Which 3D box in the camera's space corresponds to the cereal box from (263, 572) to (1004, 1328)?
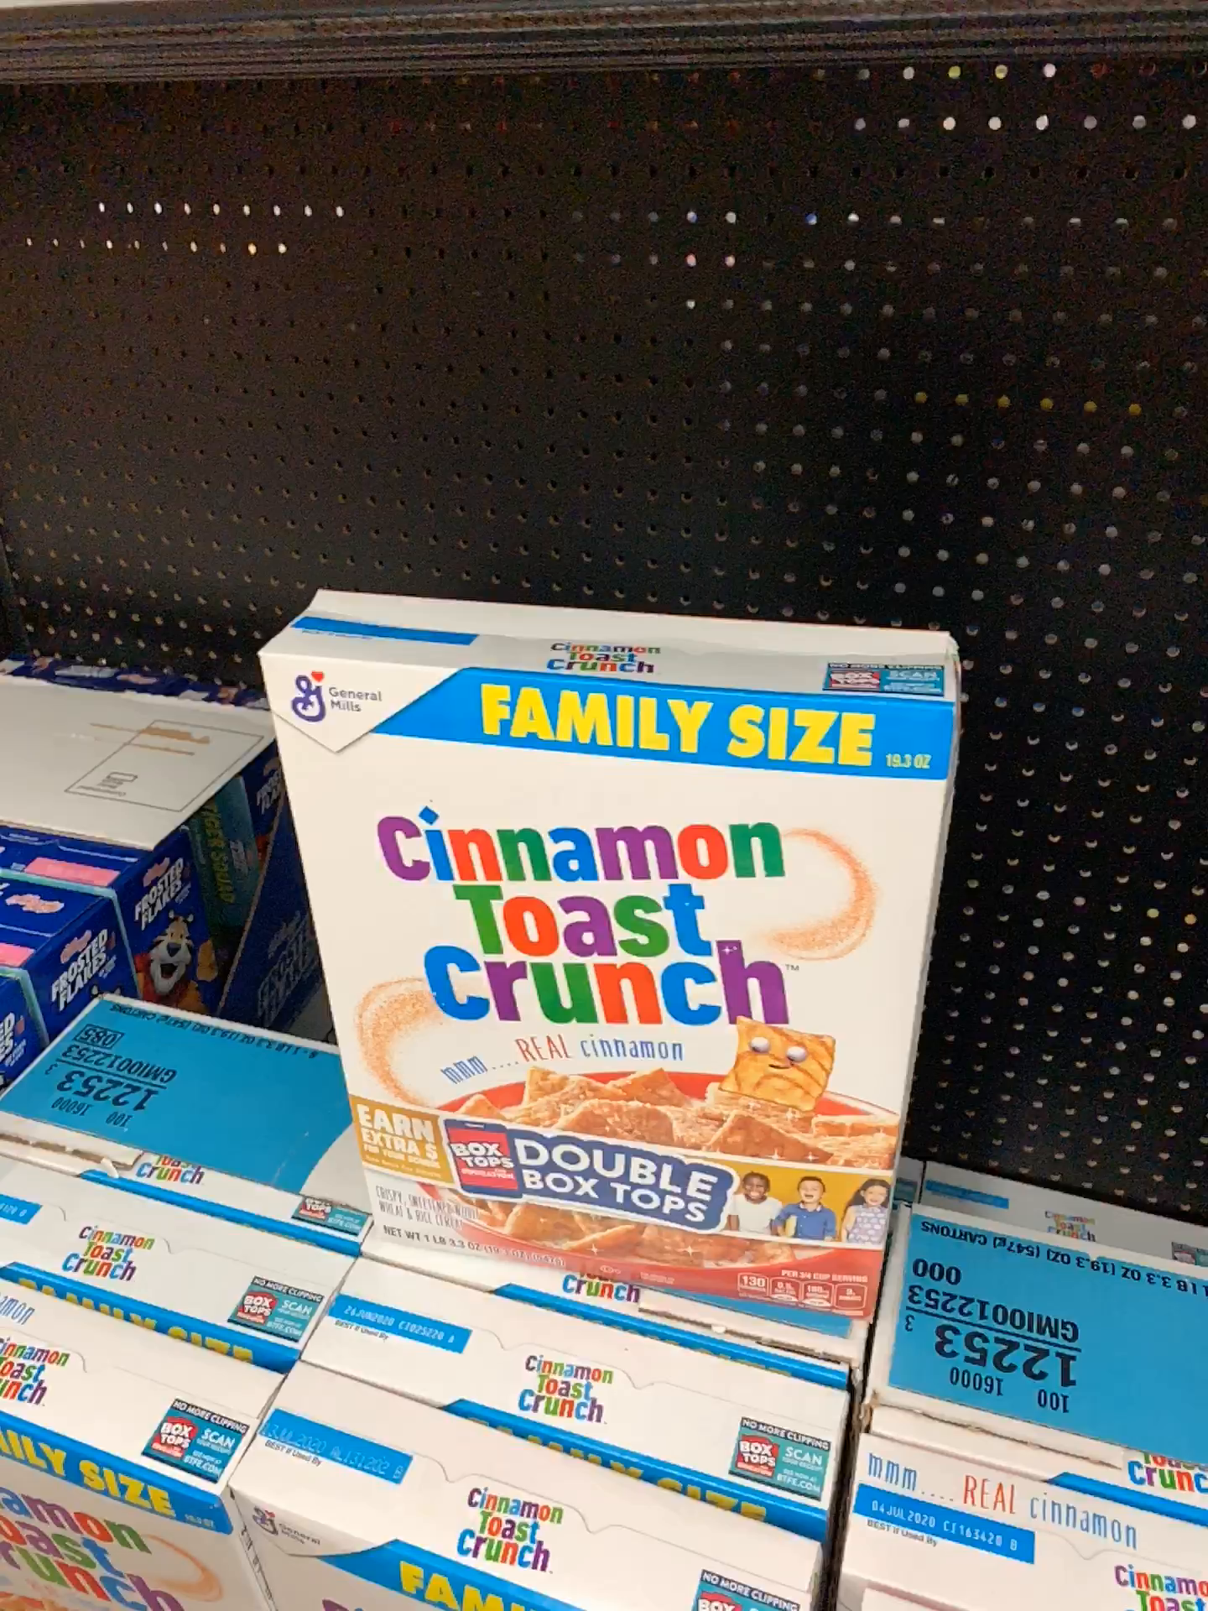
[{"bbox_3d":[0.014,0.066,0.496,0.240,0.298,0.060,6,33,12],"label":"cereal box"}]
